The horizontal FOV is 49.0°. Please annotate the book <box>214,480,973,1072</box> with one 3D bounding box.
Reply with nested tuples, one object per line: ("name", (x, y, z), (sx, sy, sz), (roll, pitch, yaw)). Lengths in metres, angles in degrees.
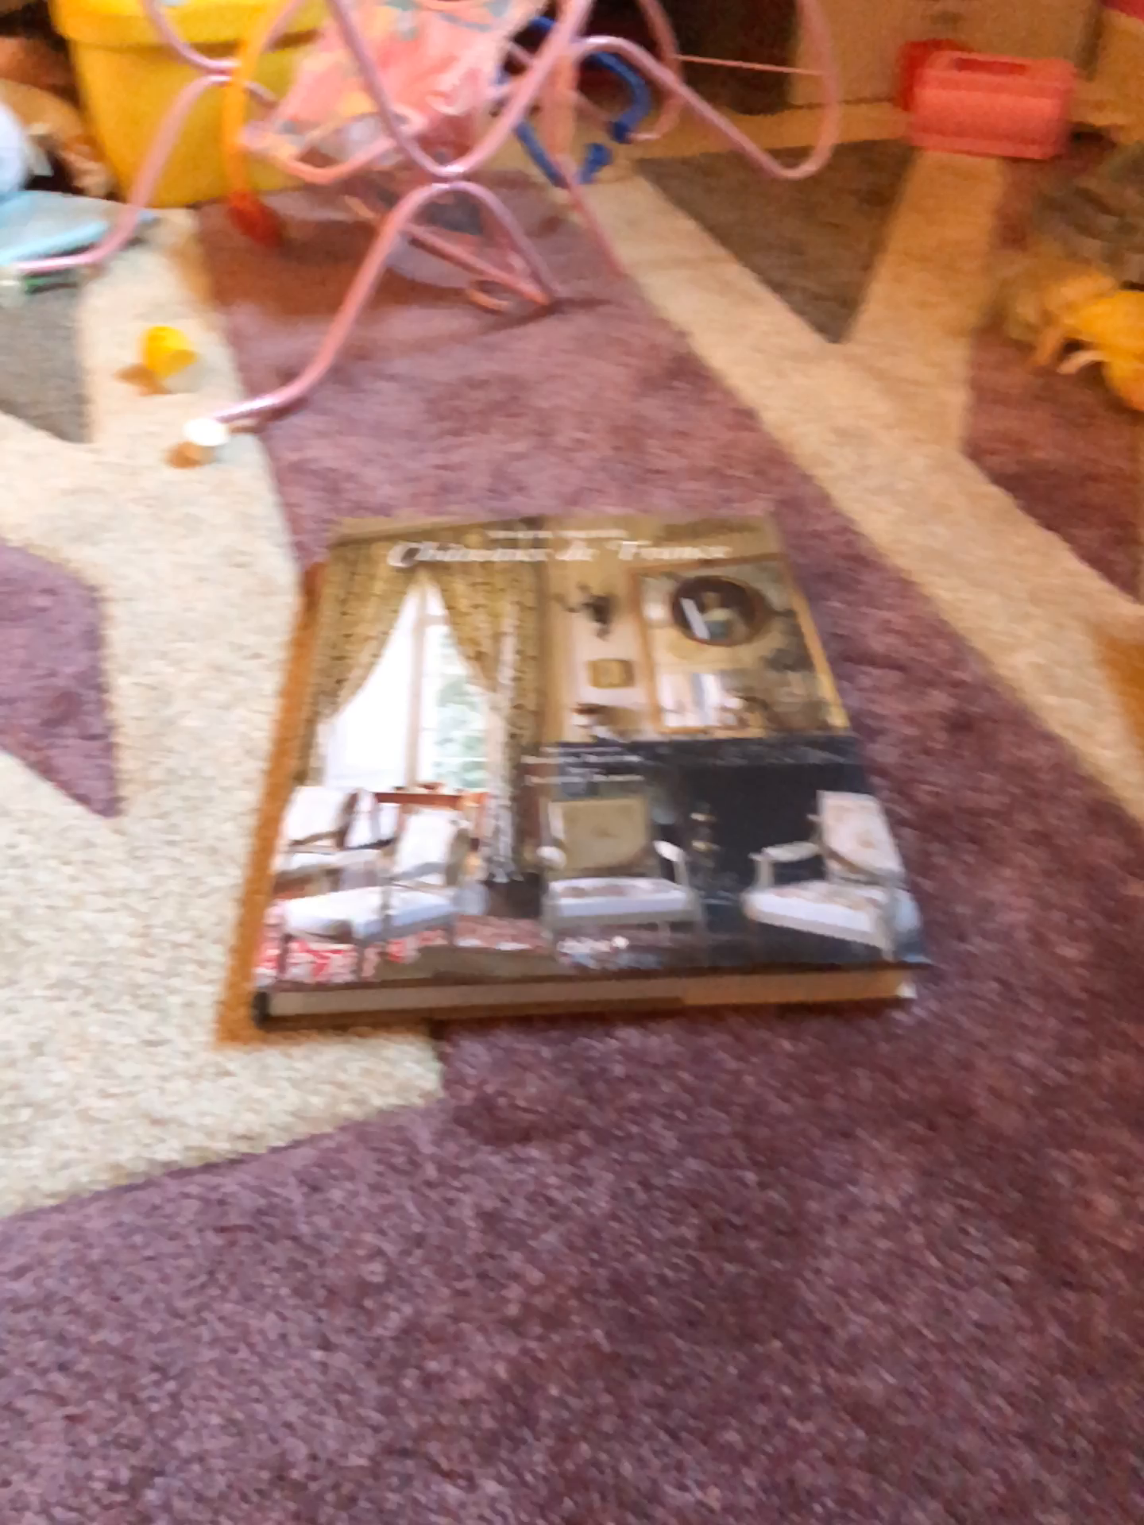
("book", (0.002, -0.022, 0.574), (0.260, 0.050, 0.342), (-1, 41, -2))
